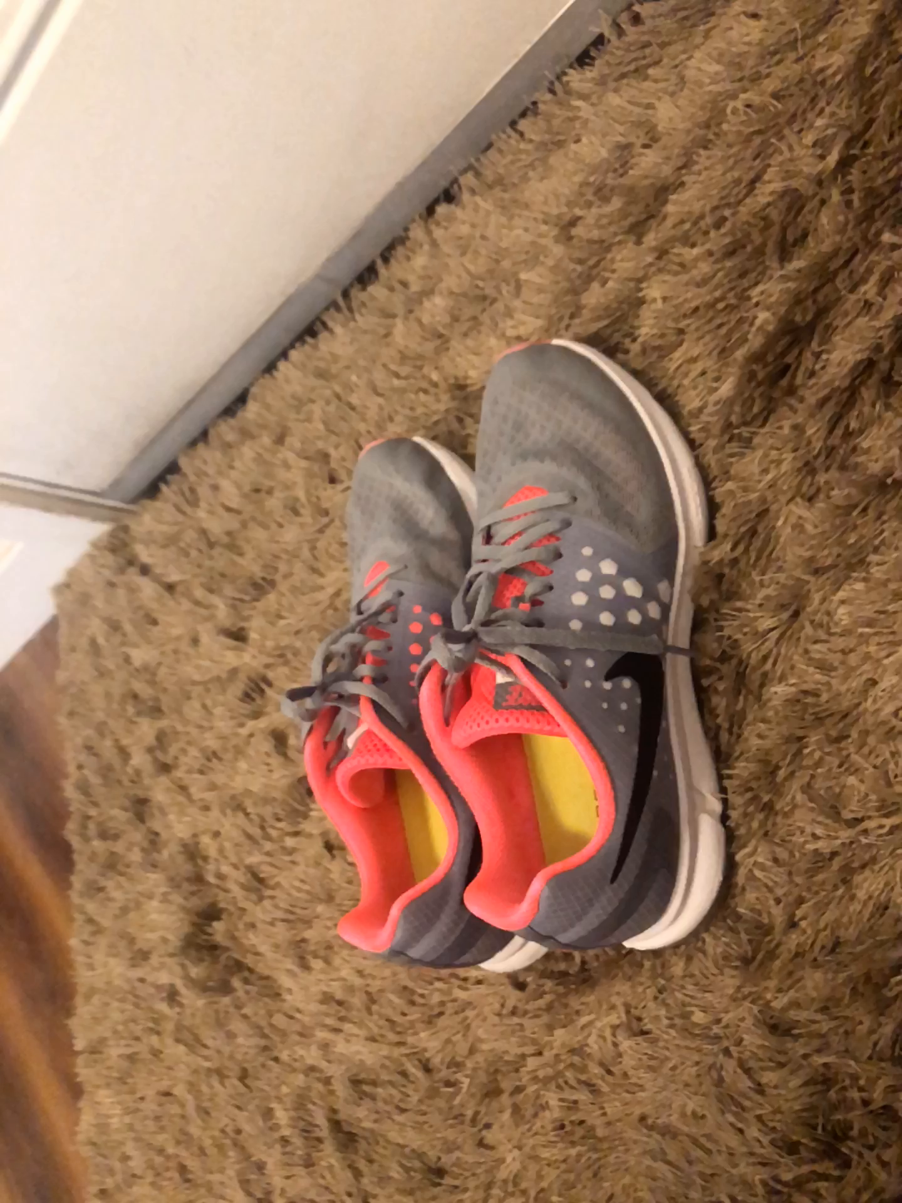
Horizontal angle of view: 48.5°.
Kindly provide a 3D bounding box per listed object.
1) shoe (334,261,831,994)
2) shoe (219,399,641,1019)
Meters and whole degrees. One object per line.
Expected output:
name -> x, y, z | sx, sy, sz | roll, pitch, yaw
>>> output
shoe -> 0.047, 0.016, 0.439 | 0.119, 0.119, 0.270 | -27, 64, 41
shoe -> -0.021, 0.053, 0.515 | 0.114, 0.121, 0.270 | -33, 60, 38
